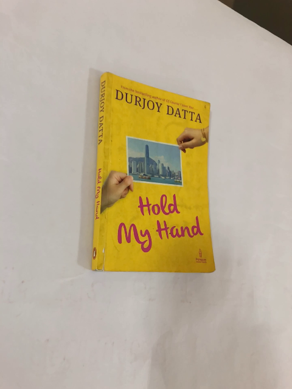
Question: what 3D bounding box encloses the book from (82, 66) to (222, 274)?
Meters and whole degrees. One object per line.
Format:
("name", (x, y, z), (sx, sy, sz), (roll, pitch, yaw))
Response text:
("book", (0.012, -0.018, 0.326), (0.140, 0.020, 0.190), (8, 74, -29))
